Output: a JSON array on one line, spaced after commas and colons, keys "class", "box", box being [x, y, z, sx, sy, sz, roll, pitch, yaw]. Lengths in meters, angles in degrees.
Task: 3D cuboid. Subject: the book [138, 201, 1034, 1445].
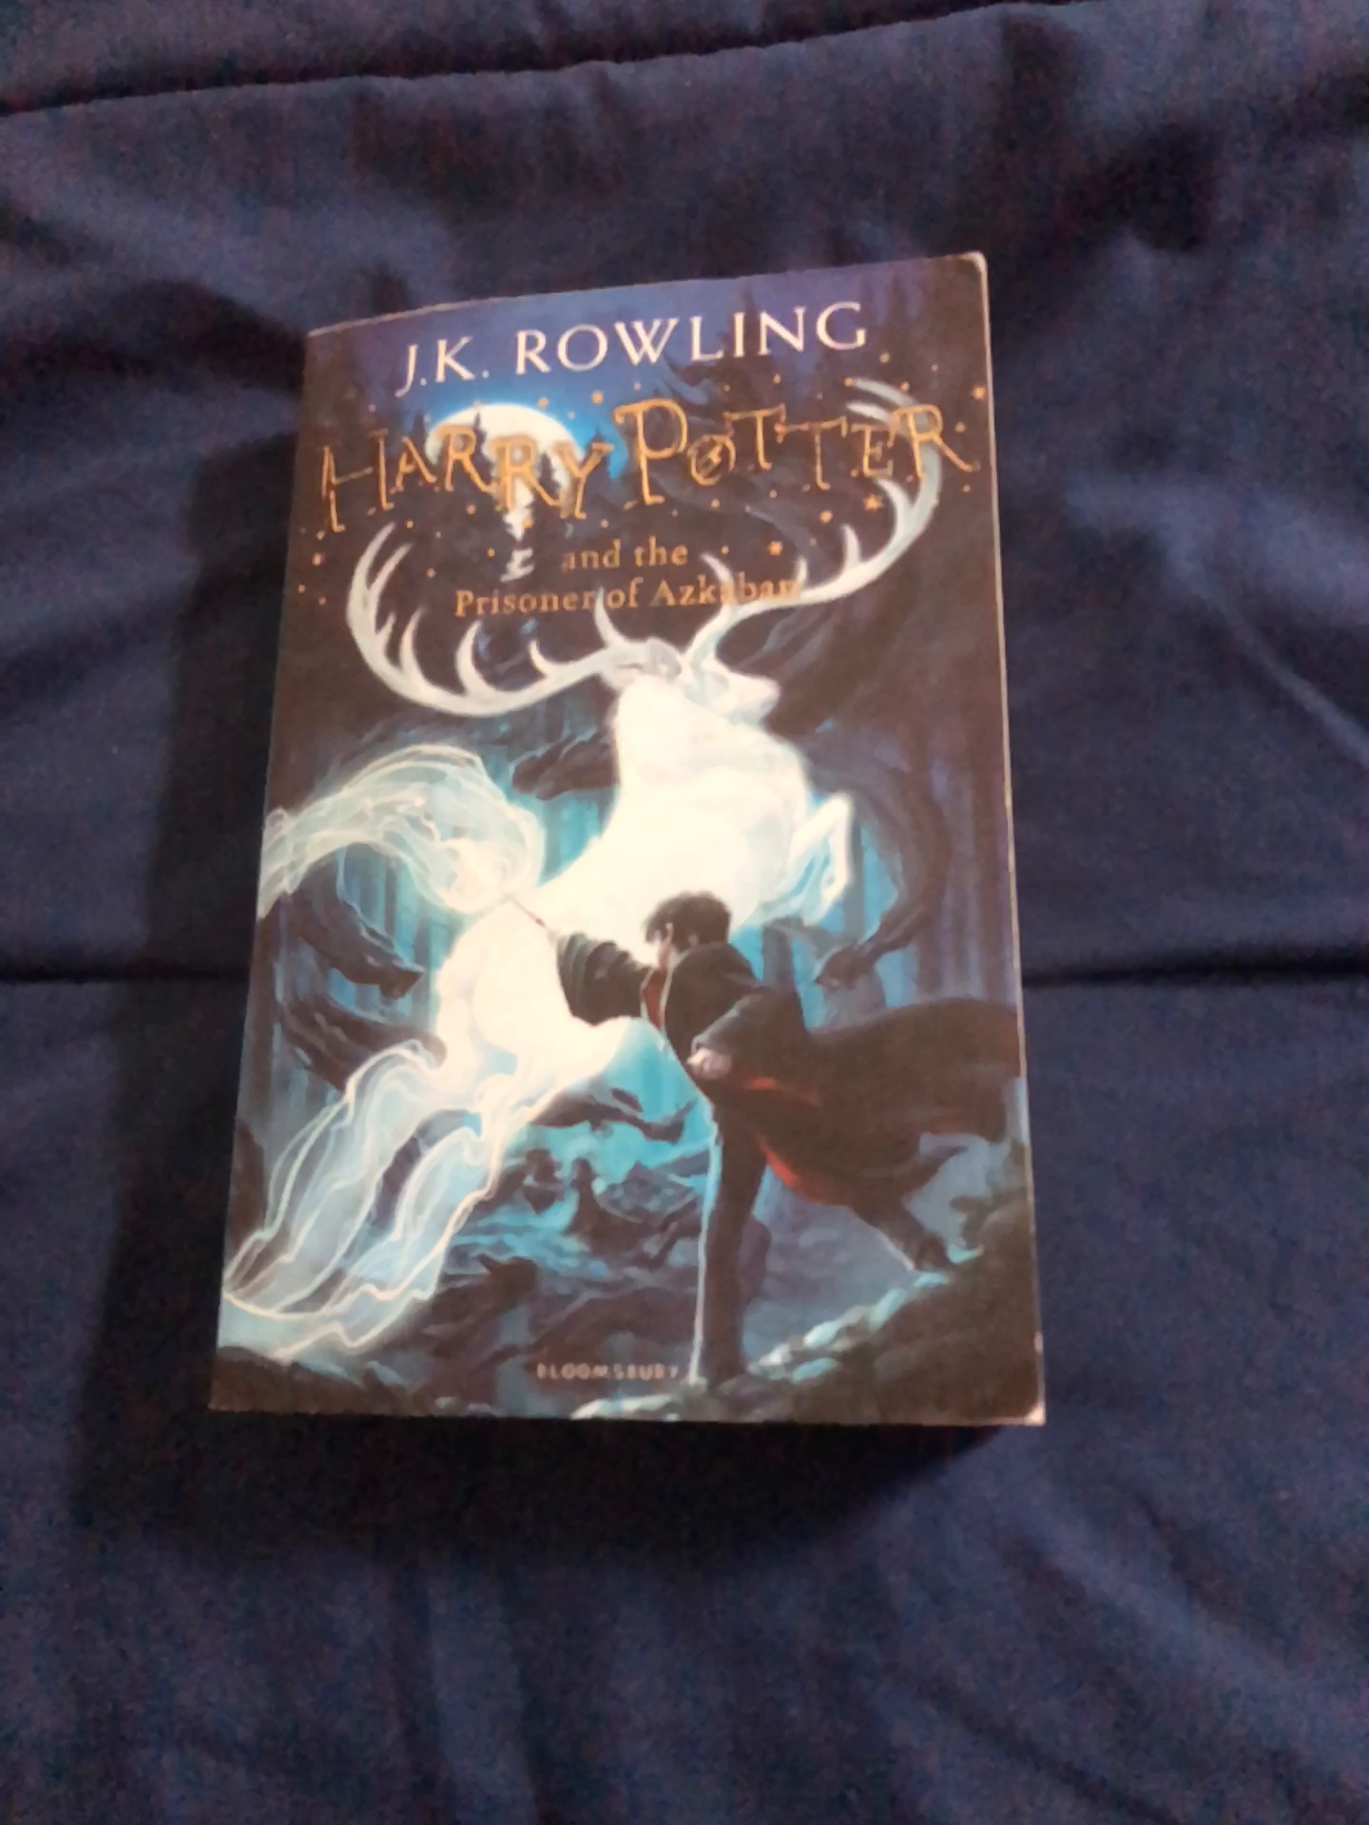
[{"class": "book", "box": [-0.012, -0.017, 0.265, 0.134, 0.045, 0.200, -2, 76, 10]}]
